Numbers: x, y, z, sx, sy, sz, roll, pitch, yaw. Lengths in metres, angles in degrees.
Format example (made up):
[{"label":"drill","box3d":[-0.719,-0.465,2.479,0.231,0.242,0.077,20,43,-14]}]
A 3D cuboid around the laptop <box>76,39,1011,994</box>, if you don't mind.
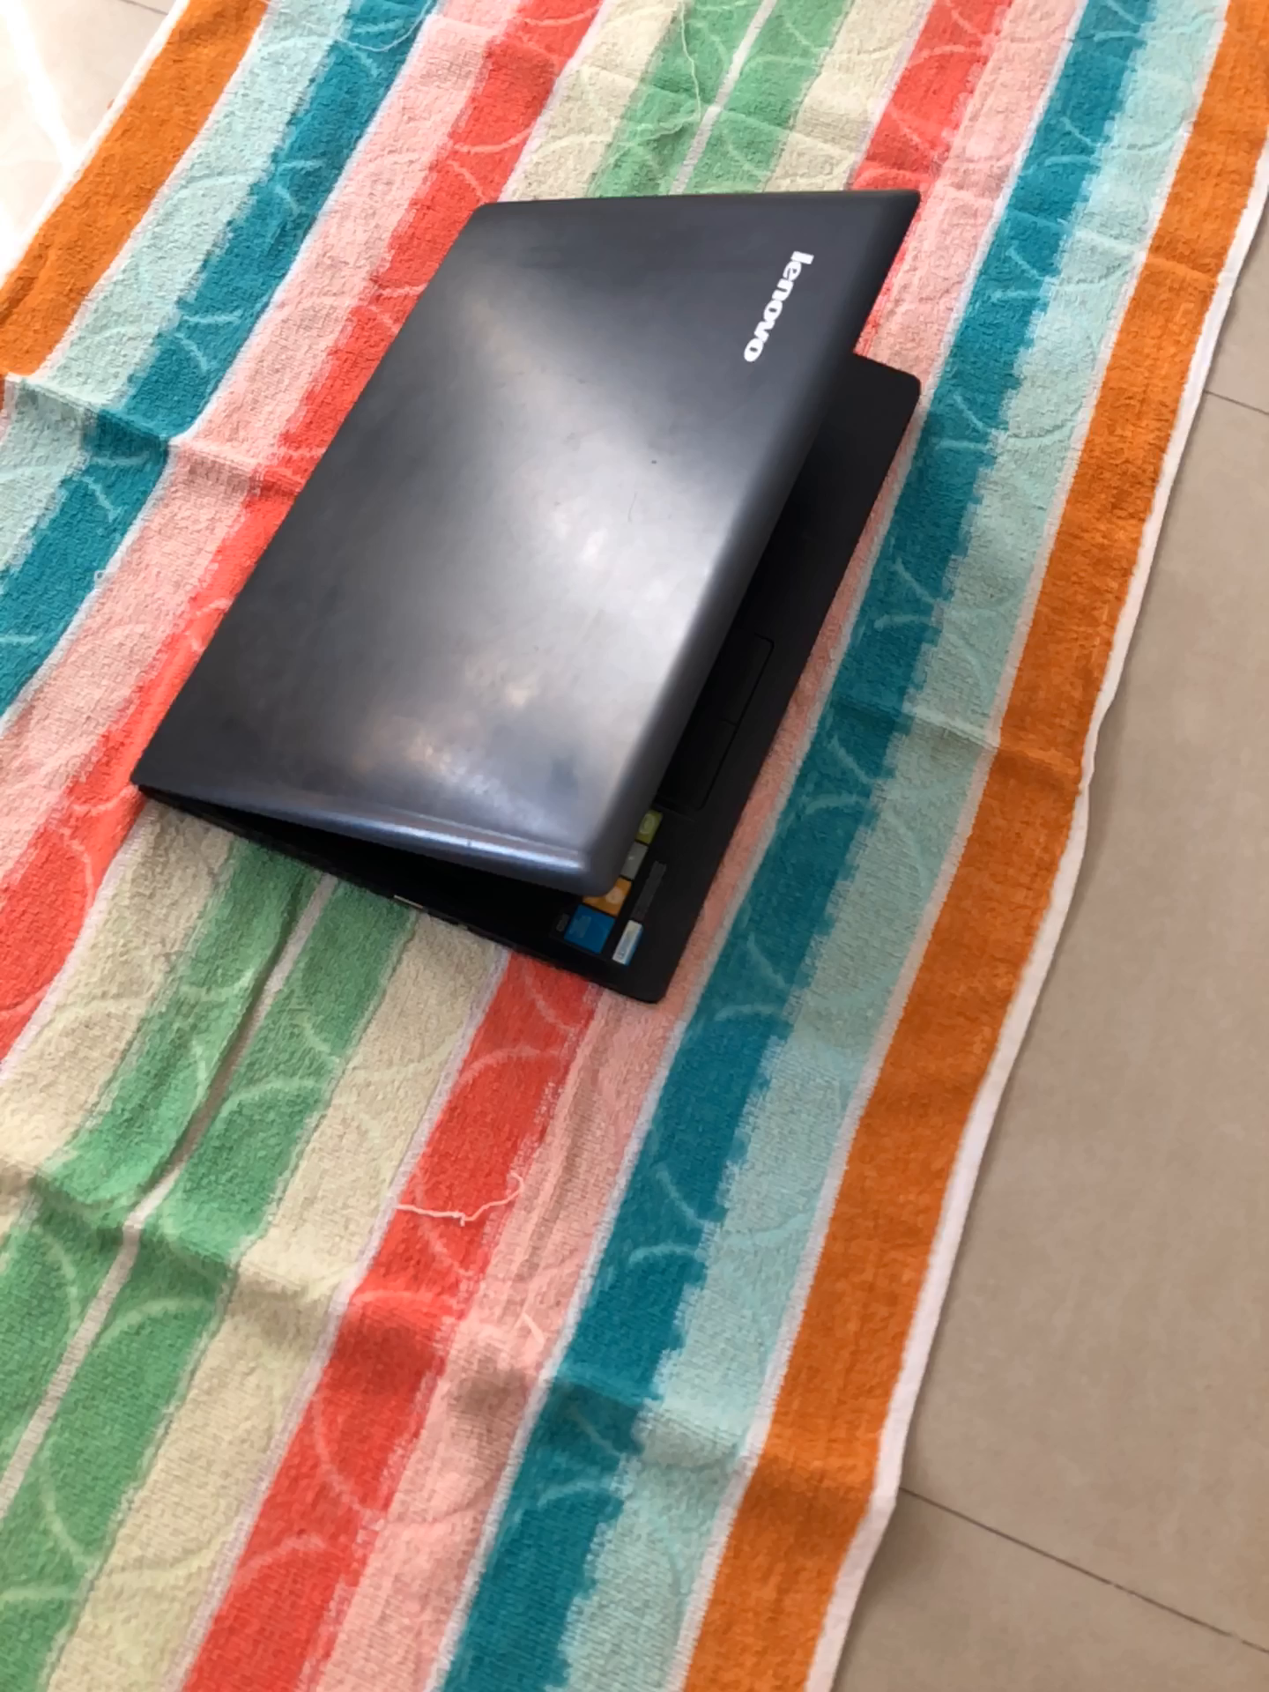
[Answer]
[{"label":"laptop","box3d":[-0.025,-0.158,0.628,0.252,0.126,0.364,22,69,8]}]
